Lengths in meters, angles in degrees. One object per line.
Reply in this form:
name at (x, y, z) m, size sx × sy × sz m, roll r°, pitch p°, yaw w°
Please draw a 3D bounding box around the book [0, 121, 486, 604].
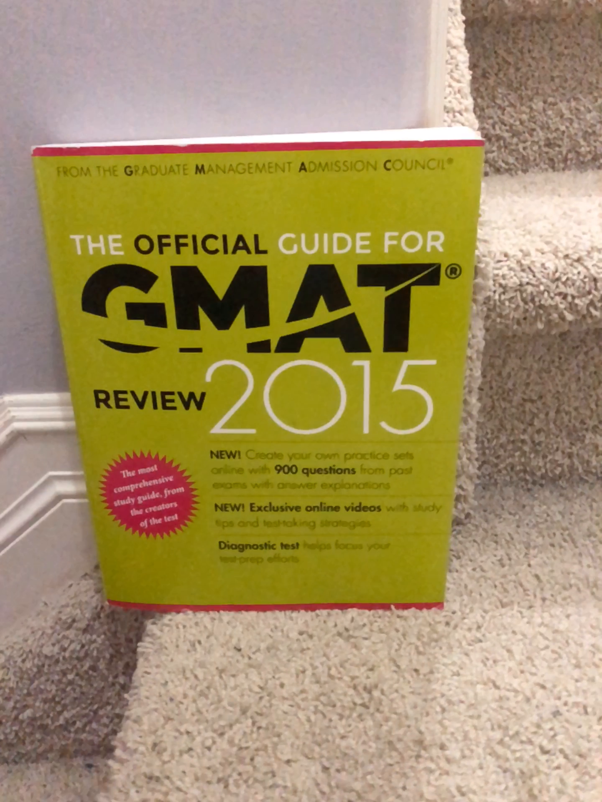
book at (-0.025, -0.008, 0.388) m, size 0.235 × 0.277 × 0.040 m, roll -1°, pitch 22°, yaw 3°
